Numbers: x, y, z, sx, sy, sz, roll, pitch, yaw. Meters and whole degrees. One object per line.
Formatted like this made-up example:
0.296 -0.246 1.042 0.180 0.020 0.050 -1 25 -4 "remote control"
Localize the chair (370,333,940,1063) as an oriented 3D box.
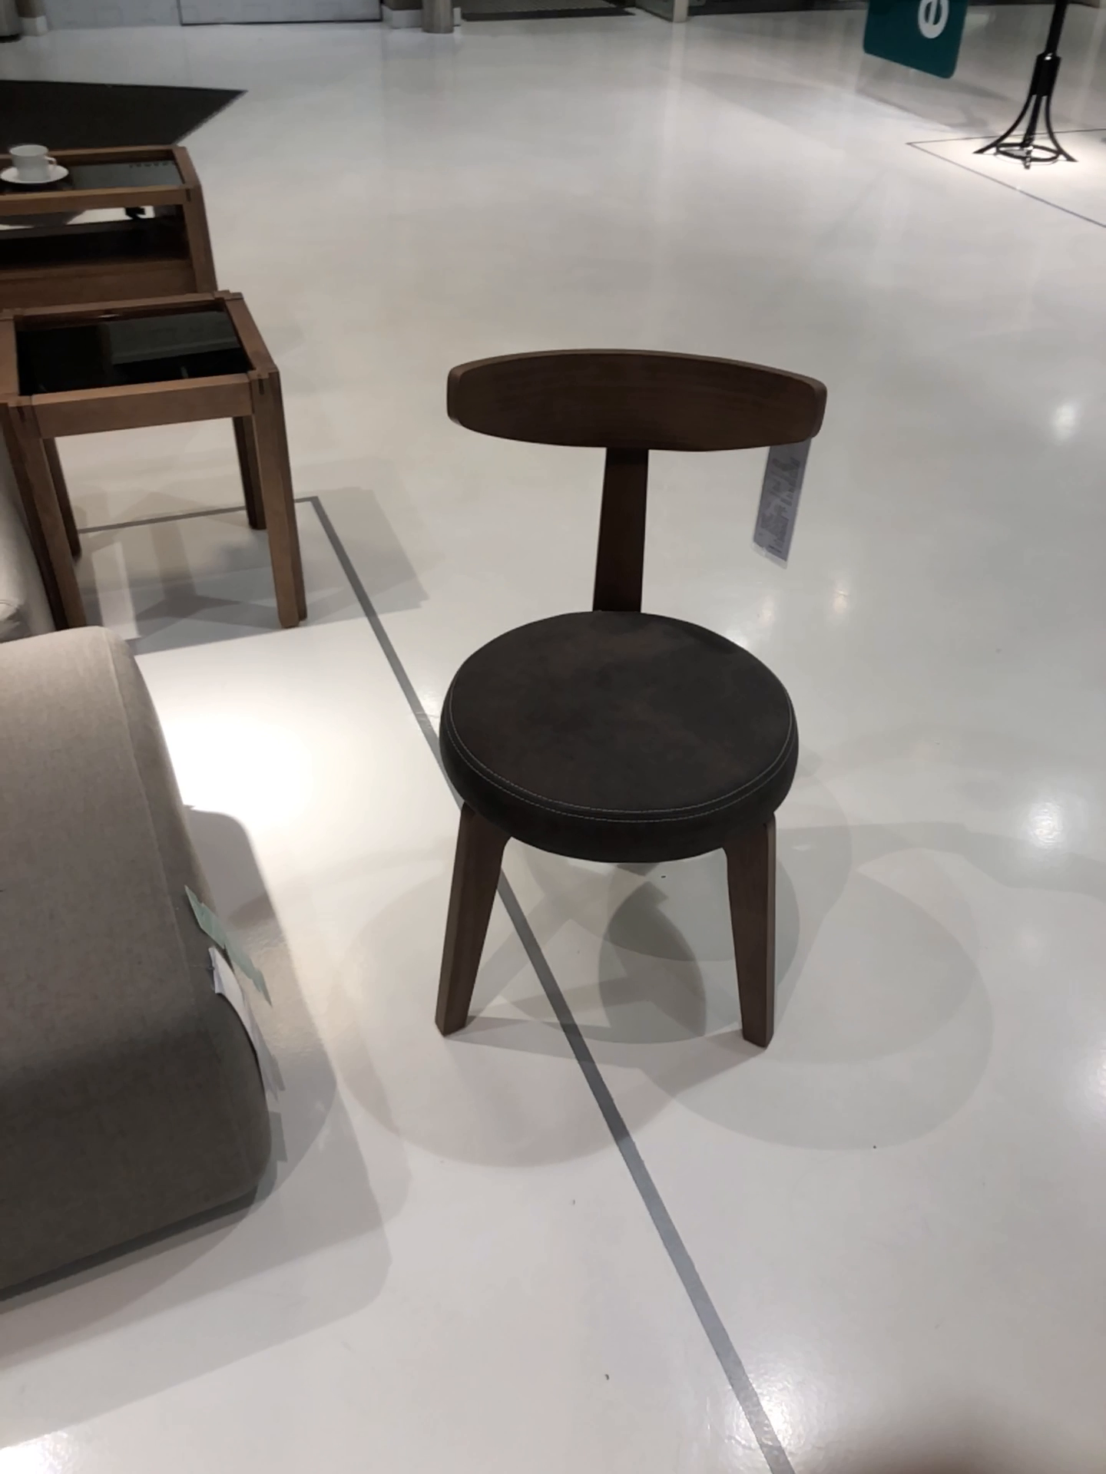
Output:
0.089 -0.044 1.487 0.500 0.705 0.524 2 38 0 "chair"
